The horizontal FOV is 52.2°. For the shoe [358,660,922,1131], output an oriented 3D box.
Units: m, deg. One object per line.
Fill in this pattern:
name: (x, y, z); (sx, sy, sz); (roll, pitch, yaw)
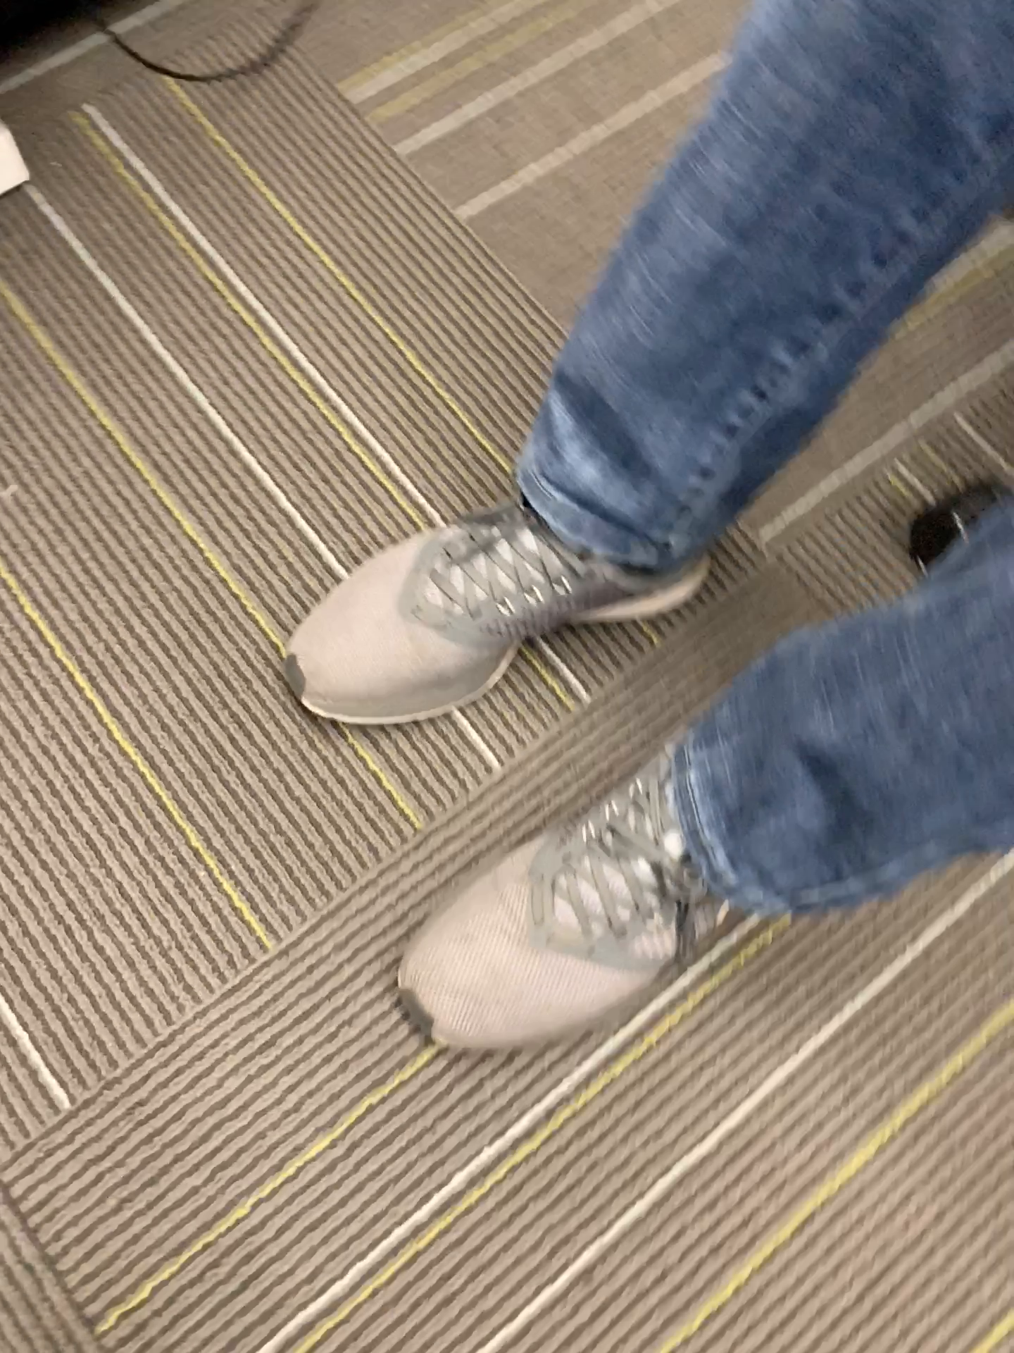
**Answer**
shoe: (0.074, 0.120, 0.597); (0.286, 0.078, 0.124); (-28, 76, -11)

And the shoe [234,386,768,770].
shoe: (-0.004, -0.062, 0.642); (0.284, 0.078, 0.132); (-20, 74, -9)
